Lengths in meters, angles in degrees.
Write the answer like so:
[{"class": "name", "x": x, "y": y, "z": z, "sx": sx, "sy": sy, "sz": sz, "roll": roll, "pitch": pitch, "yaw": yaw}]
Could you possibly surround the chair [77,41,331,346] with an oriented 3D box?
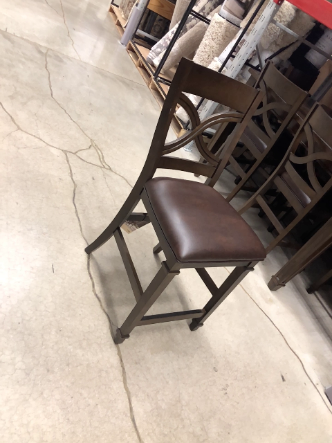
[{"class": "chair", "x": 0.102, "y": -0.055, "z": 1.573, "sx": 0.492, "sy": 1.026, "sz": 0.650, "roll": 4, "pitch": 44, "yaw": -38}]
